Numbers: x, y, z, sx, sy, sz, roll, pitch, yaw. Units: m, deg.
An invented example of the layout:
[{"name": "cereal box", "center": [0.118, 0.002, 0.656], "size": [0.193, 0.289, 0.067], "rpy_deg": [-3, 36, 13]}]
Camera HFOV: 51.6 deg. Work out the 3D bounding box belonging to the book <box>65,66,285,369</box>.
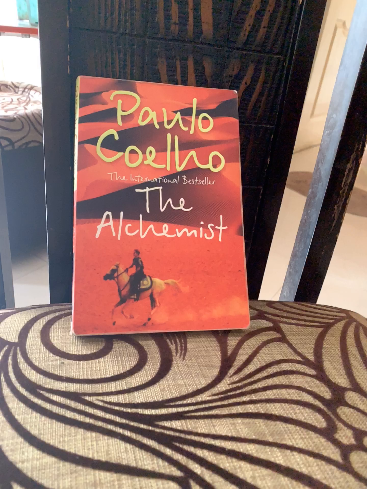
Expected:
[{"name": "book", "center": [-0.010, -0.024, 0.274], "size": [0.140, 0.201, 0.030], "rpy_deg": [-1, -13, -16]}]
